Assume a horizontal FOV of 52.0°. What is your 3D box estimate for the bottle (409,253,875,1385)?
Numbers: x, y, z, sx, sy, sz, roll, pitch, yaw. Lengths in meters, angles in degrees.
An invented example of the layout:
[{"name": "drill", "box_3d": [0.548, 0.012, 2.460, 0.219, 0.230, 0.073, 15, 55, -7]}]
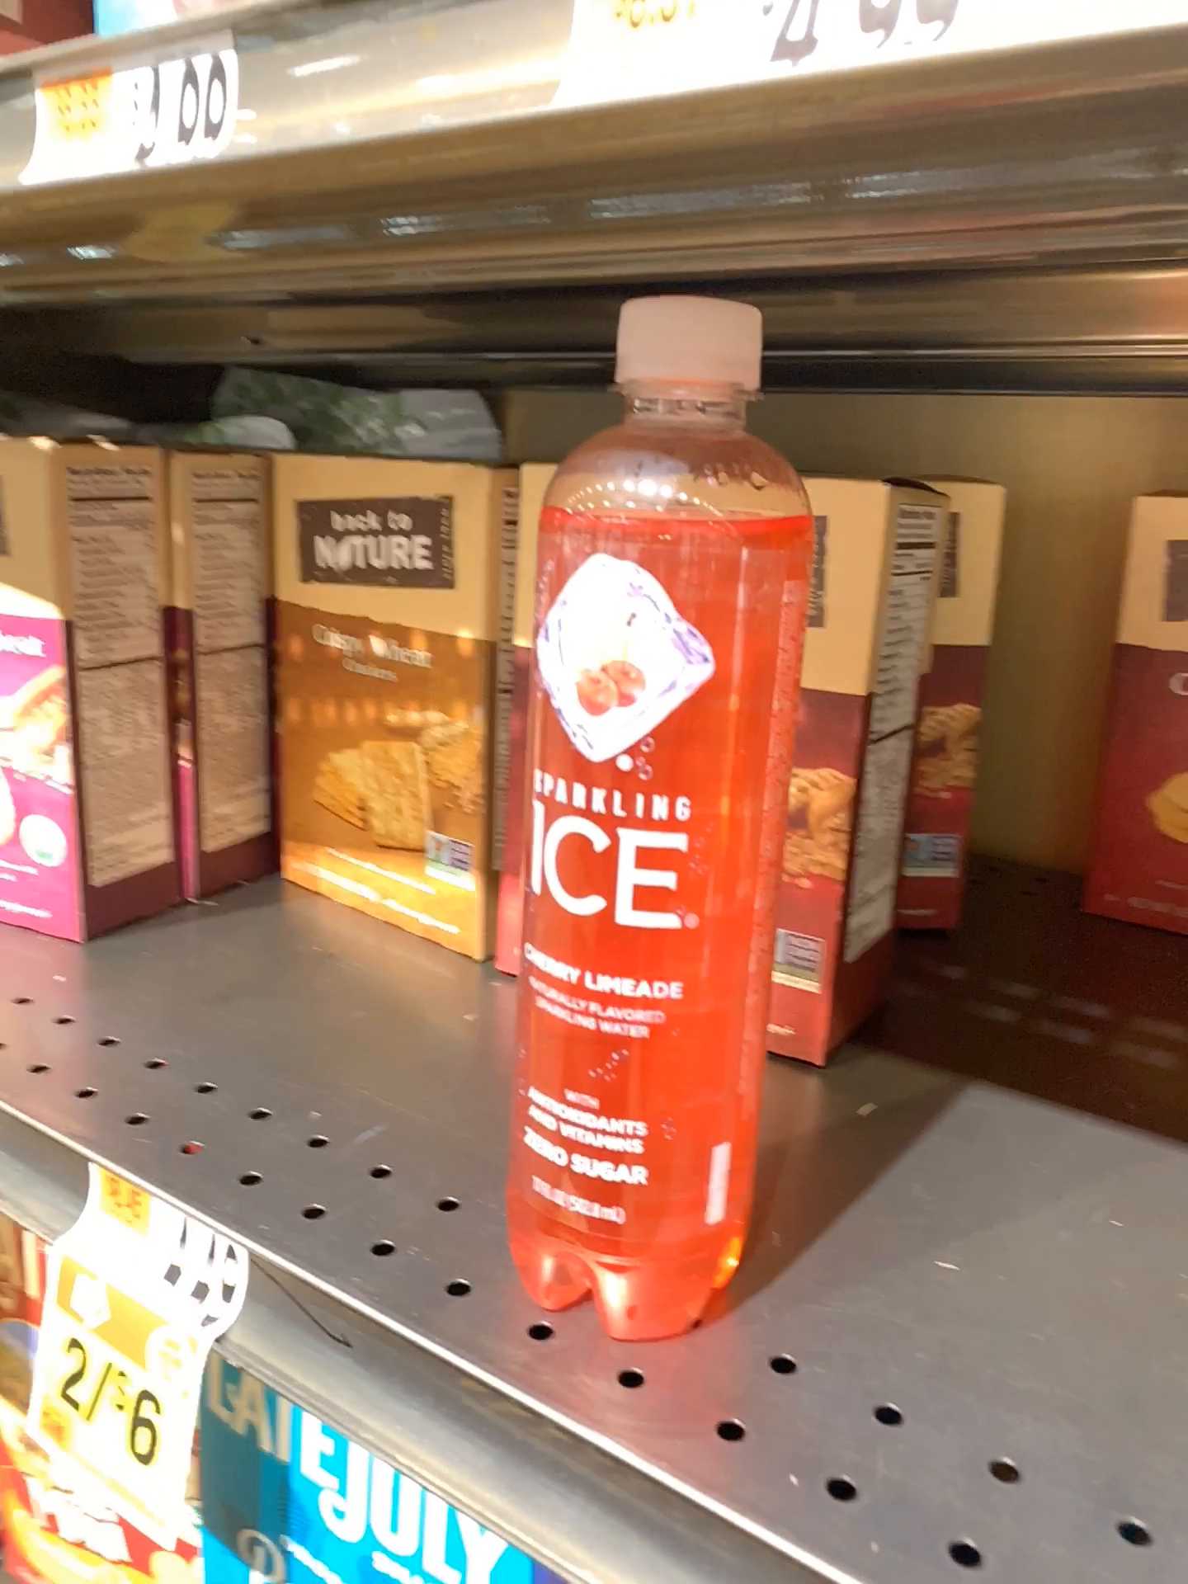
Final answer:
[{"name": "bottle", "box_3d": [0.007, 0.006, 0.257, 0.066, 0.210, 0.060, 2, 16, 0]}]
